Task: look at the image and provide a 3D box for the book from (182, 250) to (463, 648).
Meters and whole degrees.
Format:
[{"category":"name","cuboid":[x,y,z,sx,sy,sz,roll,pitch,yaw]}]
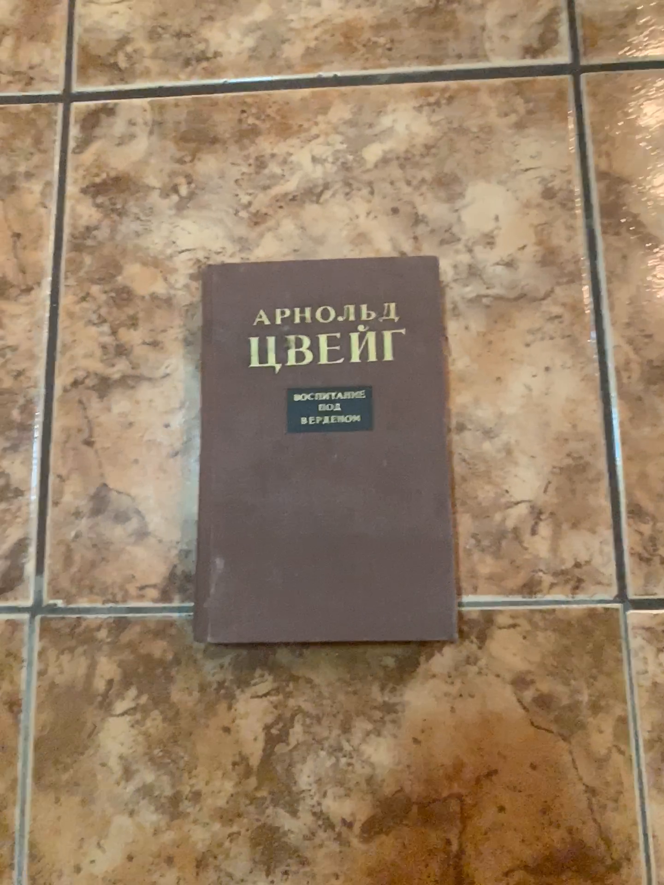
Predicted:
[{"category":"book","cuboid":[-0.006,0.002,0.370,0.139,0.035,0.205,-1,81,3]}]
